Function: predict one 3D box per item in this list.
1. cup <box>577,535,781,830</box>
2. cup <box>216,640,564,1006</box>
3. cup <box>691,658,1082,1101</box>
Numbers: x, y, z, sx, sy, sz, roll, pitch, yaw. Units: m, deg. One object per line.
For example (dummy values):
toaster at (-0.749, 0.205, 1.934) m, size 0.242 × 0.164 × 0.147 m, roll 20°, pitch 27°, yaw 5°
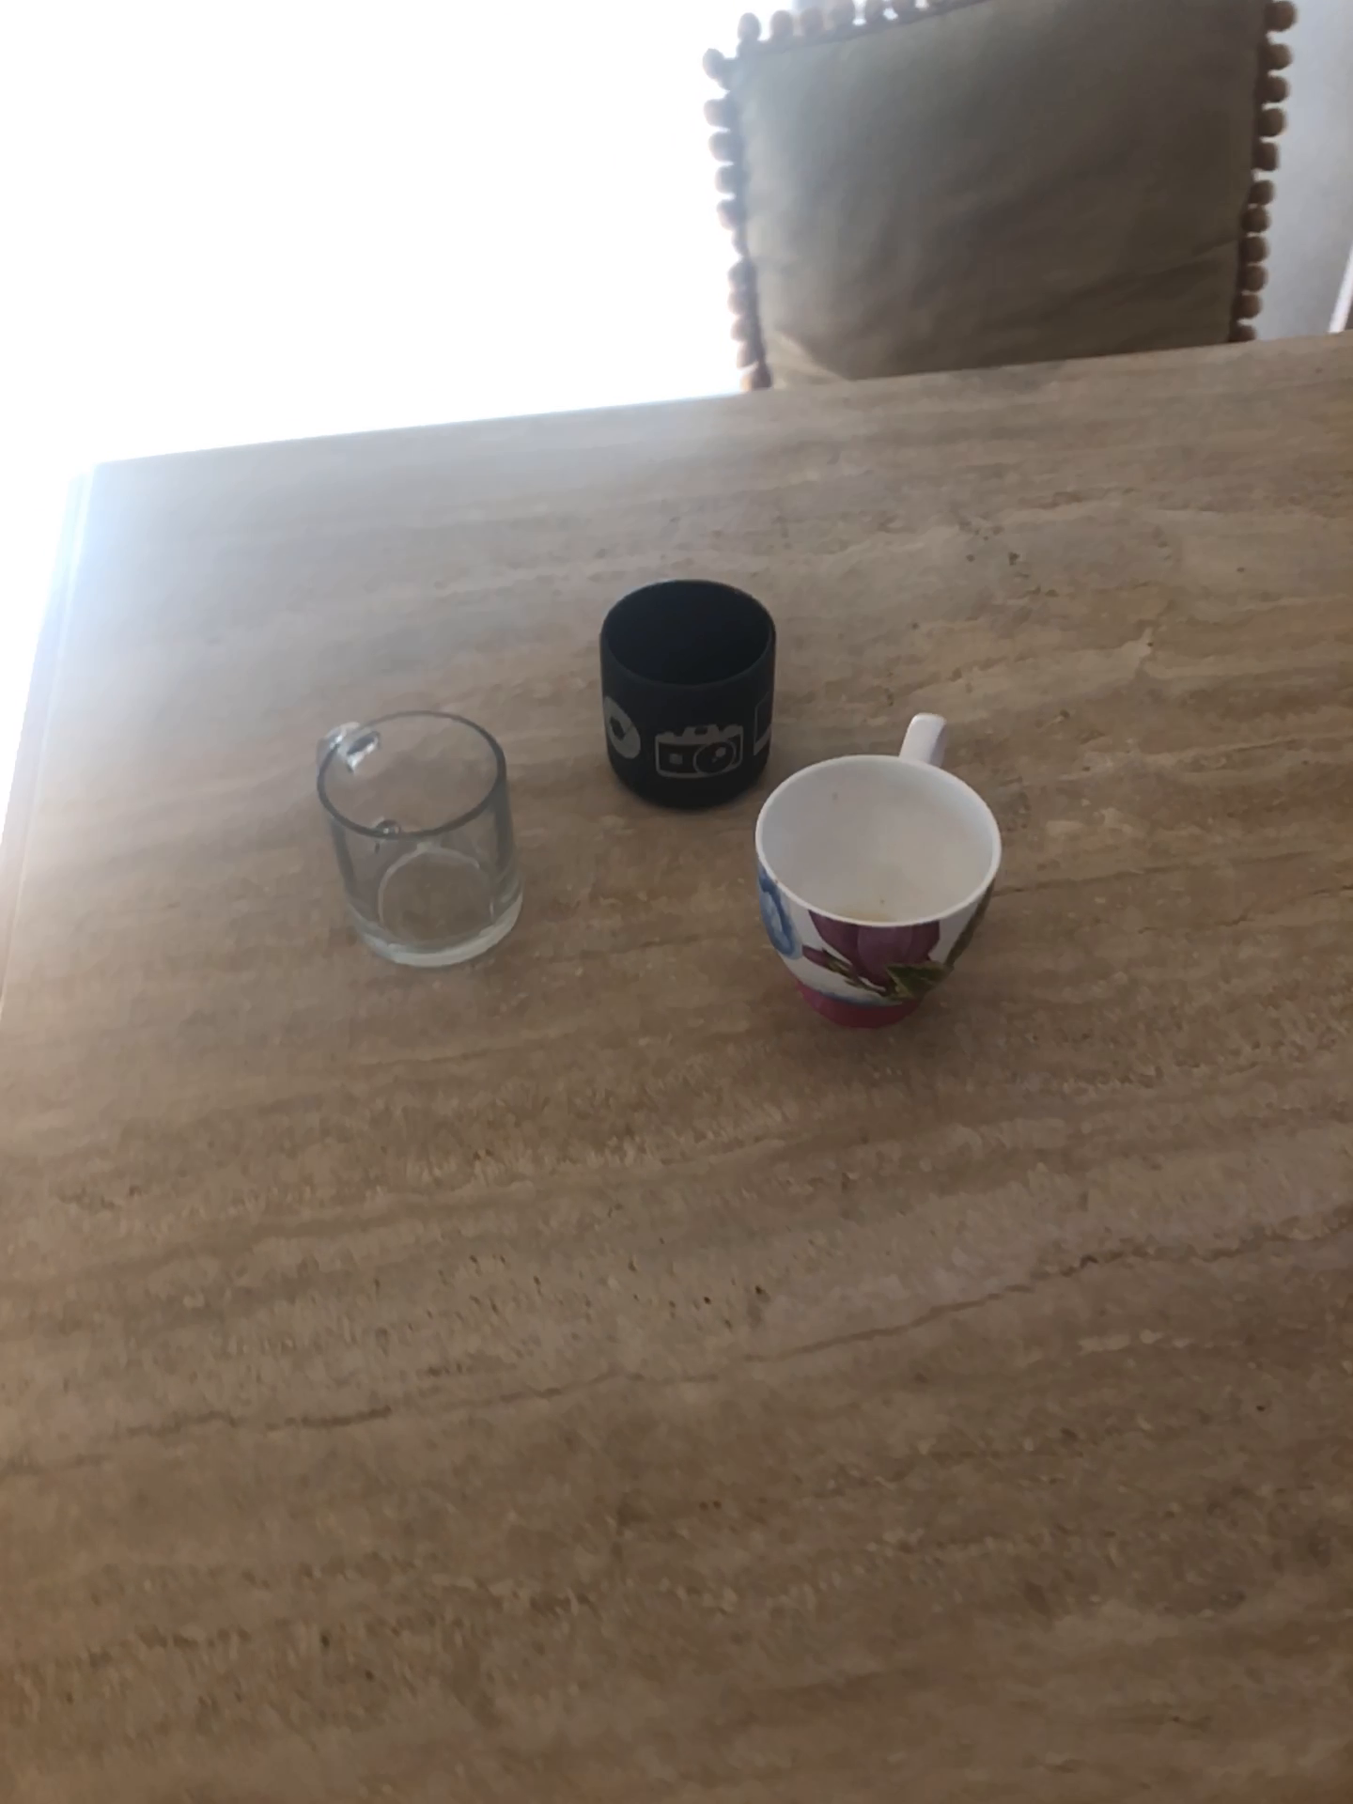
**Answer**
cup at (0.003, -0.120, 0.808) m, size 0.100 × 0.089 × 0.141 m, roll 0°, pitch 47°, yaw 1°
cup at (-0.138, -0.042, 0.728) m, size 0.090 × 0.089 × 0.140 m, roll -35°, pitch 56°, yaw -27°
cup at (0.097, -0.015, 0.691) m, size 0.120 × 0.089 × 0.161 m, roll 21°, pitch 51°, yaw 19°
